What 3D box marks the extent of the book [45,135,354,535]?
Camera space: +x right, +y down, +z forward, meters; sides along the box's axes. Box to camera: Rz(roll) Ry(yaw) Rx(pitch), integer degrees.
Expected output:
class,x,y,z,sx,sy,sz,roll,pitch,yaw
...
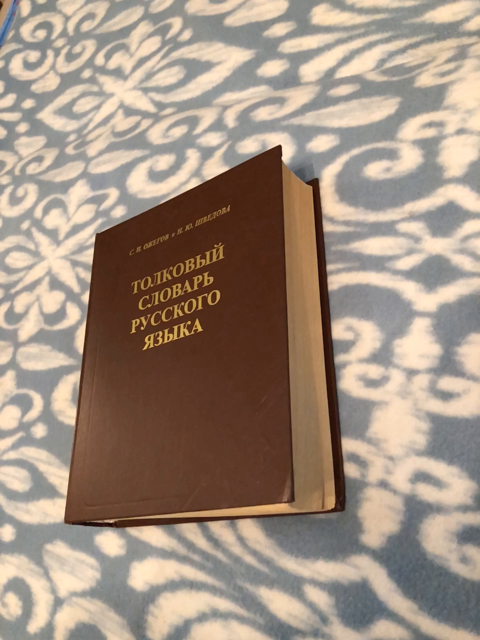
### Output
class,x,y,z,sx,sy,sz,roll,pitch,yaw
book,-0.038,0.022,0.423,0.221,0.067,0.271,-17,60,32
